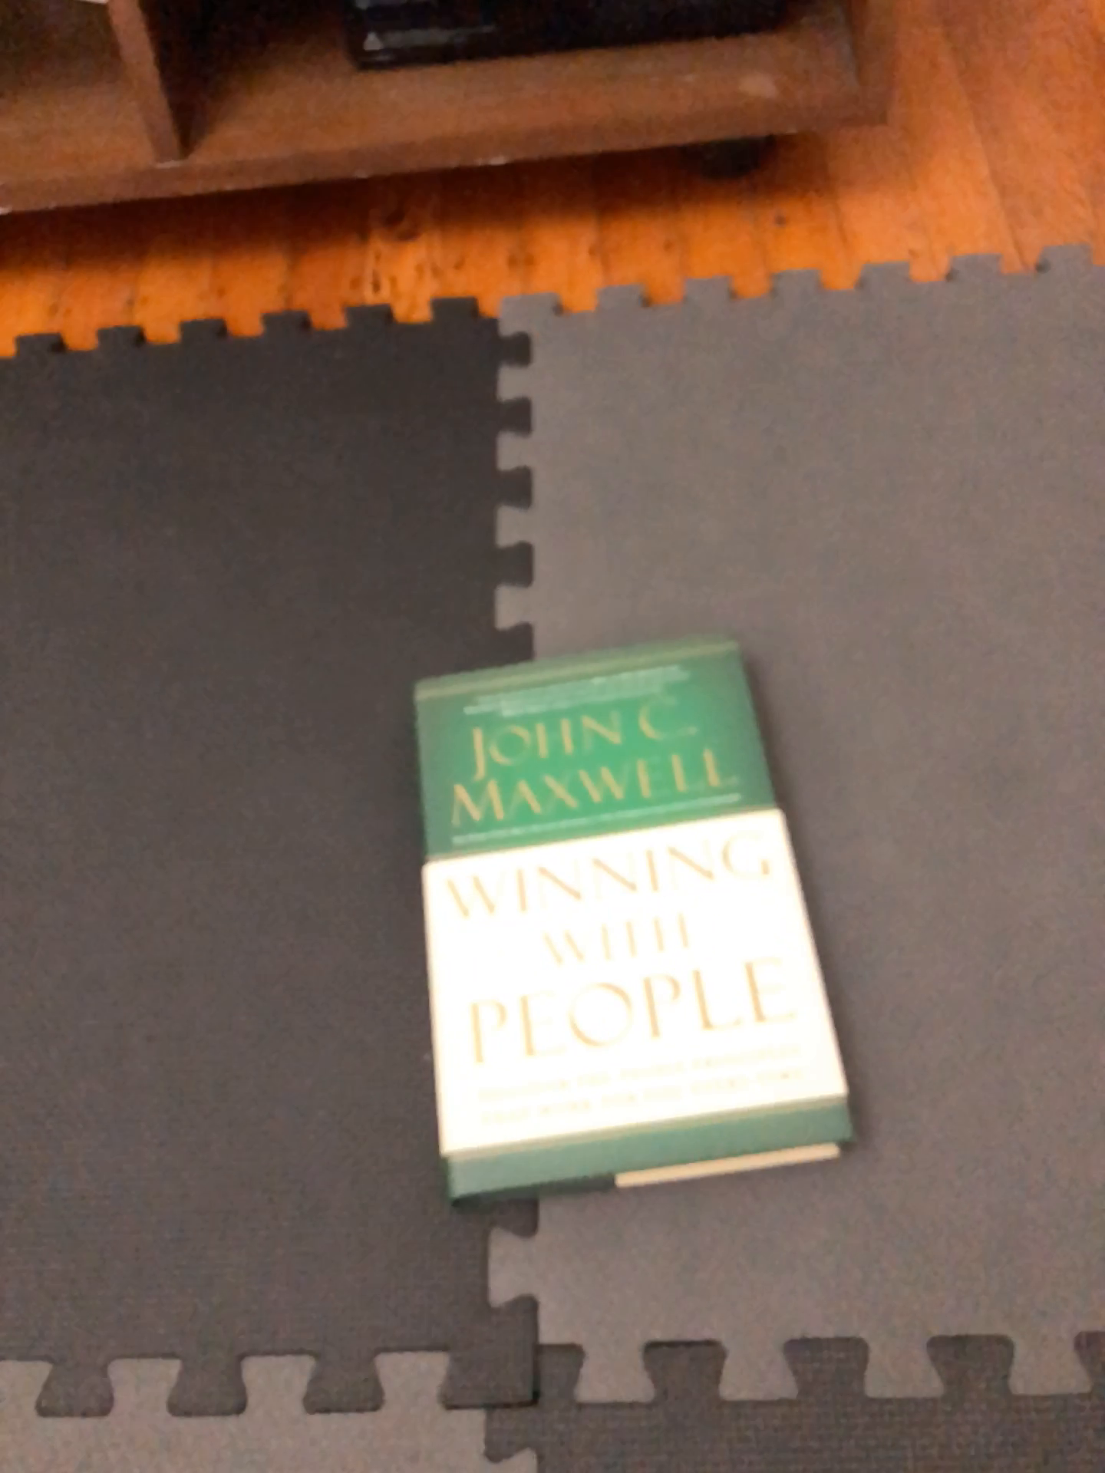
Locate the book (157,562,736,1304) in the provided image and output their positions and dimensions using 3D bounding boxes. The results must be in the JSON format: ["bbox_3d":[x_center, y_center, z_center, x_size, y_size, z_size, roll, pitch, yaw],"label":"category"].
[{"bbox_3d":[-0.046,0.064,0.508,0.200,0.030,0.291,-7,60,3],"label":"book"}]
